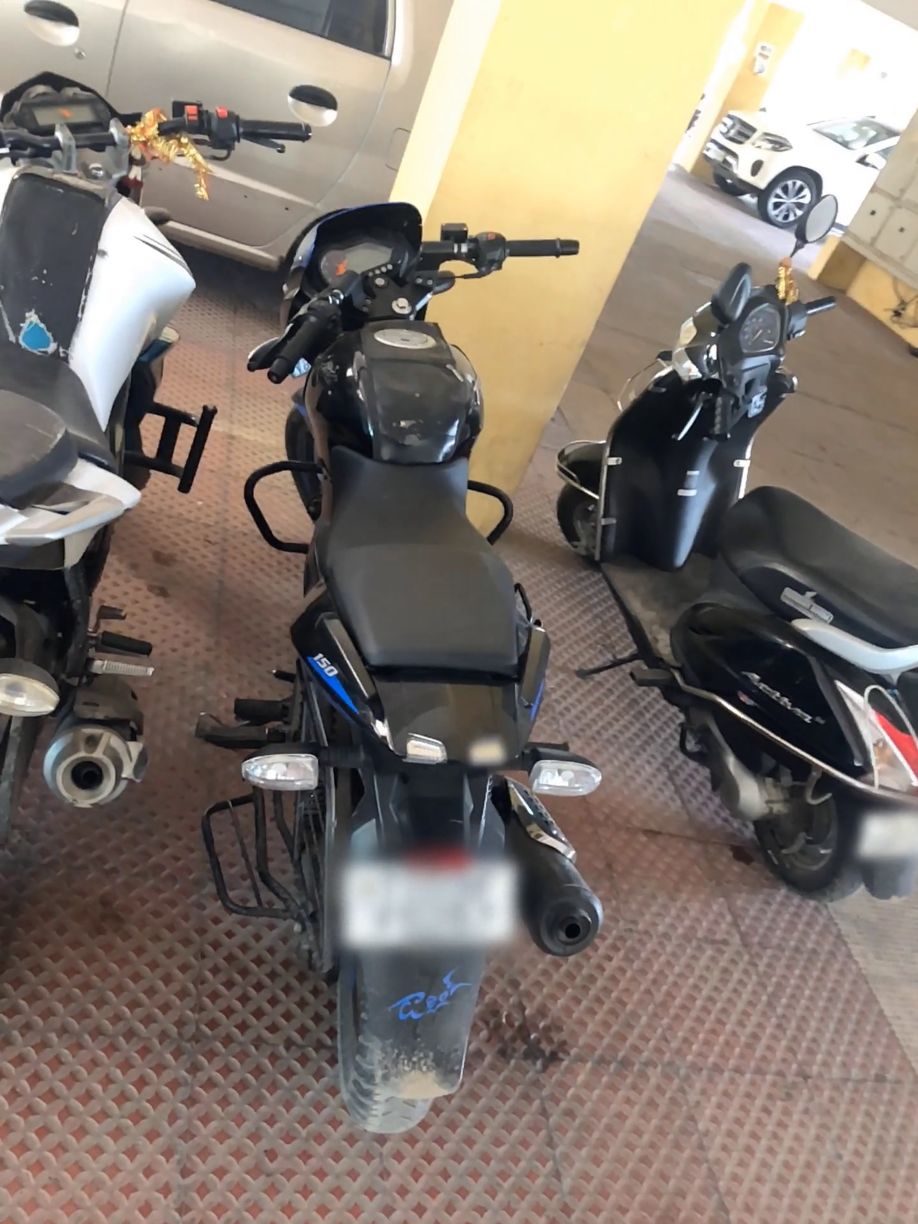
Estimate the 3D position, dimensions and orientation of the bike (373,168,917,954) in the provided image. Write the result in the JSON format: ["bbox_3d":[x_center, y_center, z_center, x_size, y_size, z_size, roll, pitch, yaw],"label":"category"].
[{"bbox_3d":[0.536,-0.215,2.677,0.714,1.222,1.718,6,35,-29],"label":"bike"}]

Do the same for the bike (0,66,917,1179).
[{"bbox_3d":[-0.292,-0.180,1.826,0.746,0.988,1.850,11,32,-22],"label":"bike"}]
